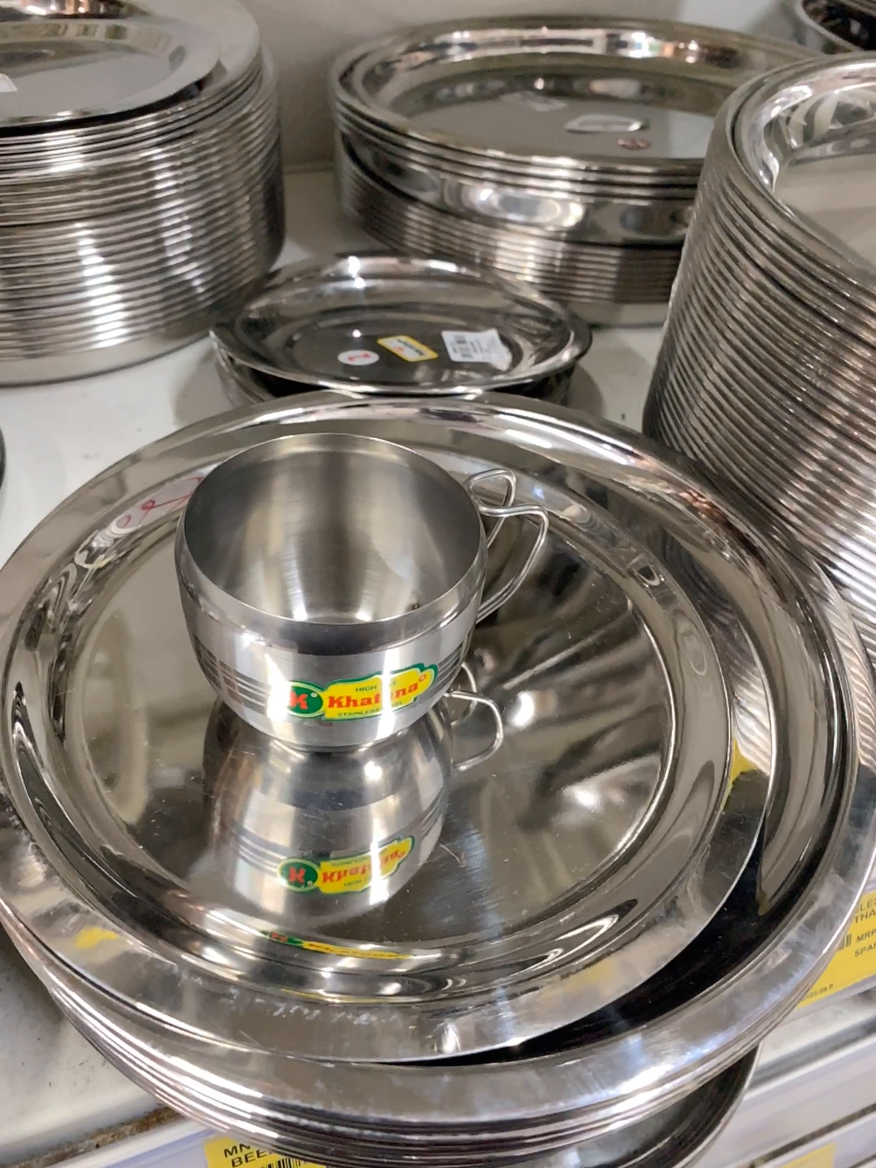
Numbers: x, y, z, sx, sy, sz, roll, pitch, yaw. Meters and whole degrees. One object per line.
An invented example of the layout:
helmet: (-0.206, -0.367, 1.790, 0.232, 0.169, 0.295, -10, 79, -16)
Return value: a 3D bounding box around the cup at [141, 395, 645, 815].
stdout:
cup: (-0.013, -0.001, 0.213, 0.090, 0.040, 0.070, -16, 47, -20)
